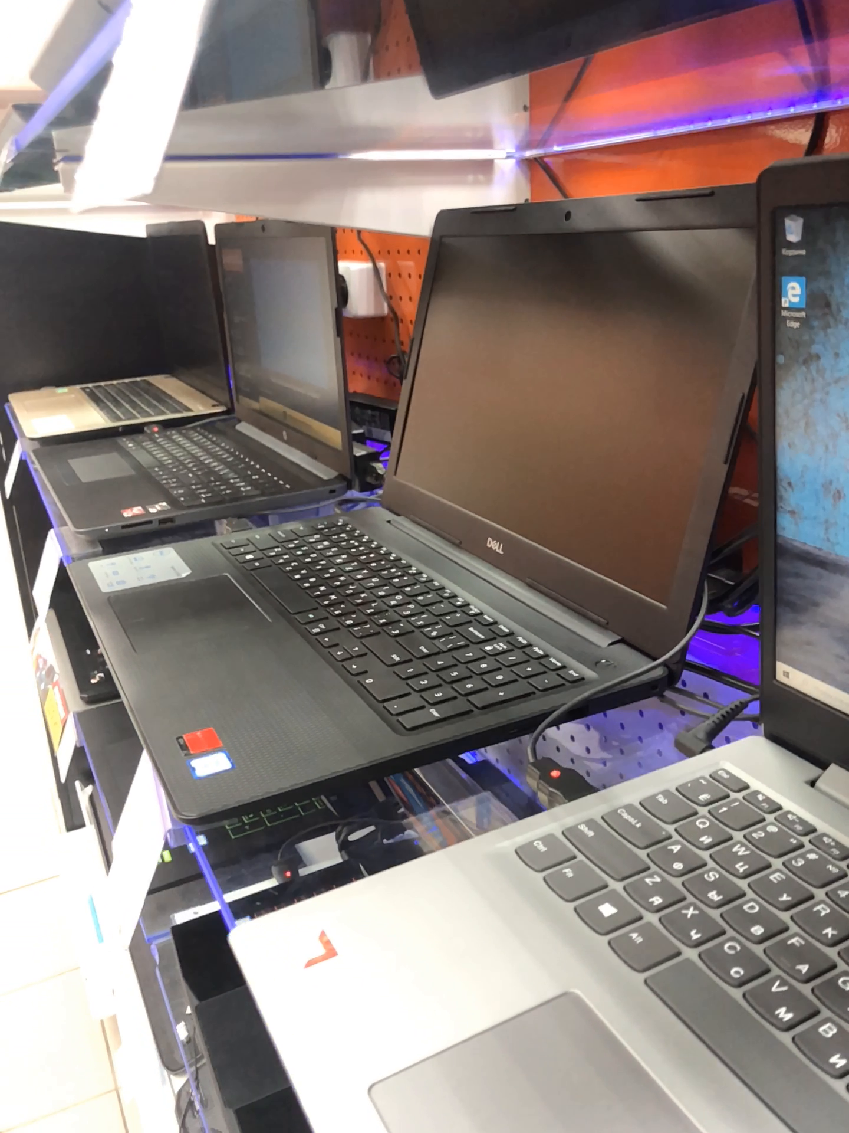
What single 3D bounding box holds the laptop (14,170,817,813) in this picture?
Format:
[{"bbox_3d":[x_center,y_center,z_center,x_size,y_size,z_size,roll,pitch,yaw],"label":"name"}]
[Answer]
[{"bbox_3d":[-0.041,-0.093,0.561,0.316,0.233,0.375,-12,21,-25],"label":"laptop"}]
